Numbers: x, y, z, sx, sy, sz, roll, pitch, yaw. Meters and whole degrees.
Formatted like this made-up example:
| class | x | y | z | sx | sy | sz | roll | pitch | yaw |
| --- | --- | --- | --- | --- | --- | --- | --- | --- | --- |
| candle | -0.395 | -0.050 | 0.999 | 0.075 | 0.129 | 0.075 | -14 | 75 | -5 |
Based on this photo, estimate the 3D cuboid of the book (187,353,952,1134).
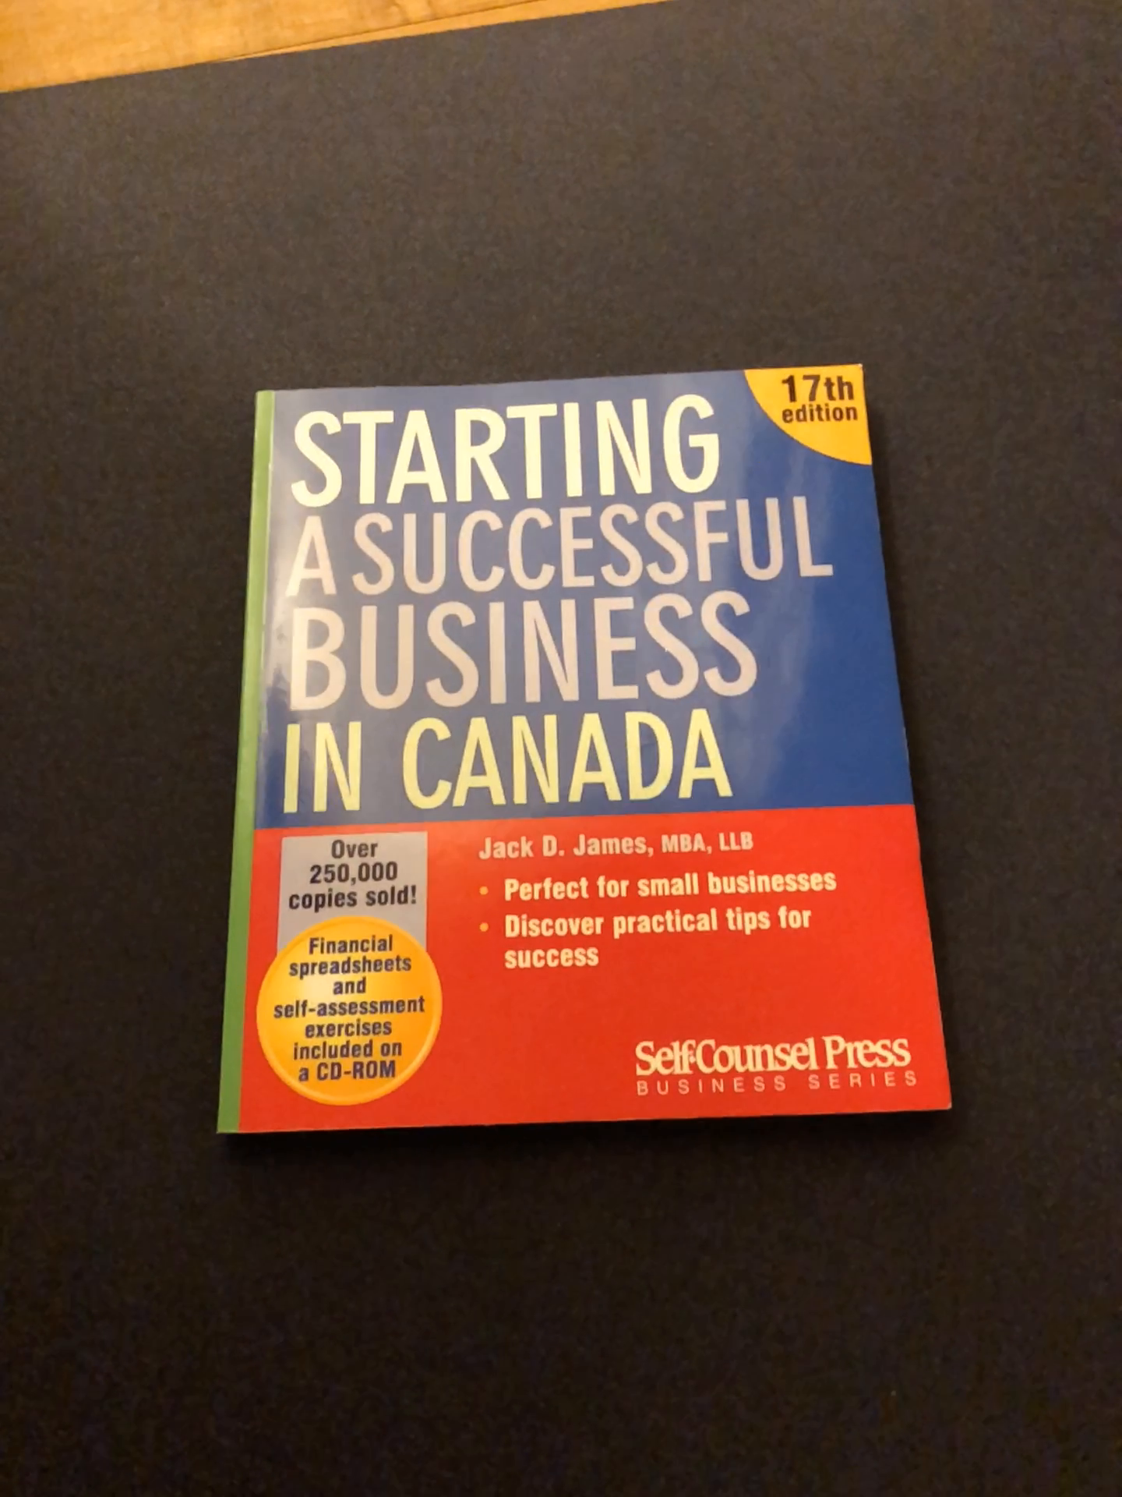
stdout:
| class | x | y | z | sx | sy | sz | roll | pitch | yaw |
| --- | --- | --- | --- | --- | --- | --- | --- | --- | --- |
| book | 0.000 | -0.008 | 0.399 | 0.210 | 0.040 | 0.247 | -1 | 71 | 1 |
